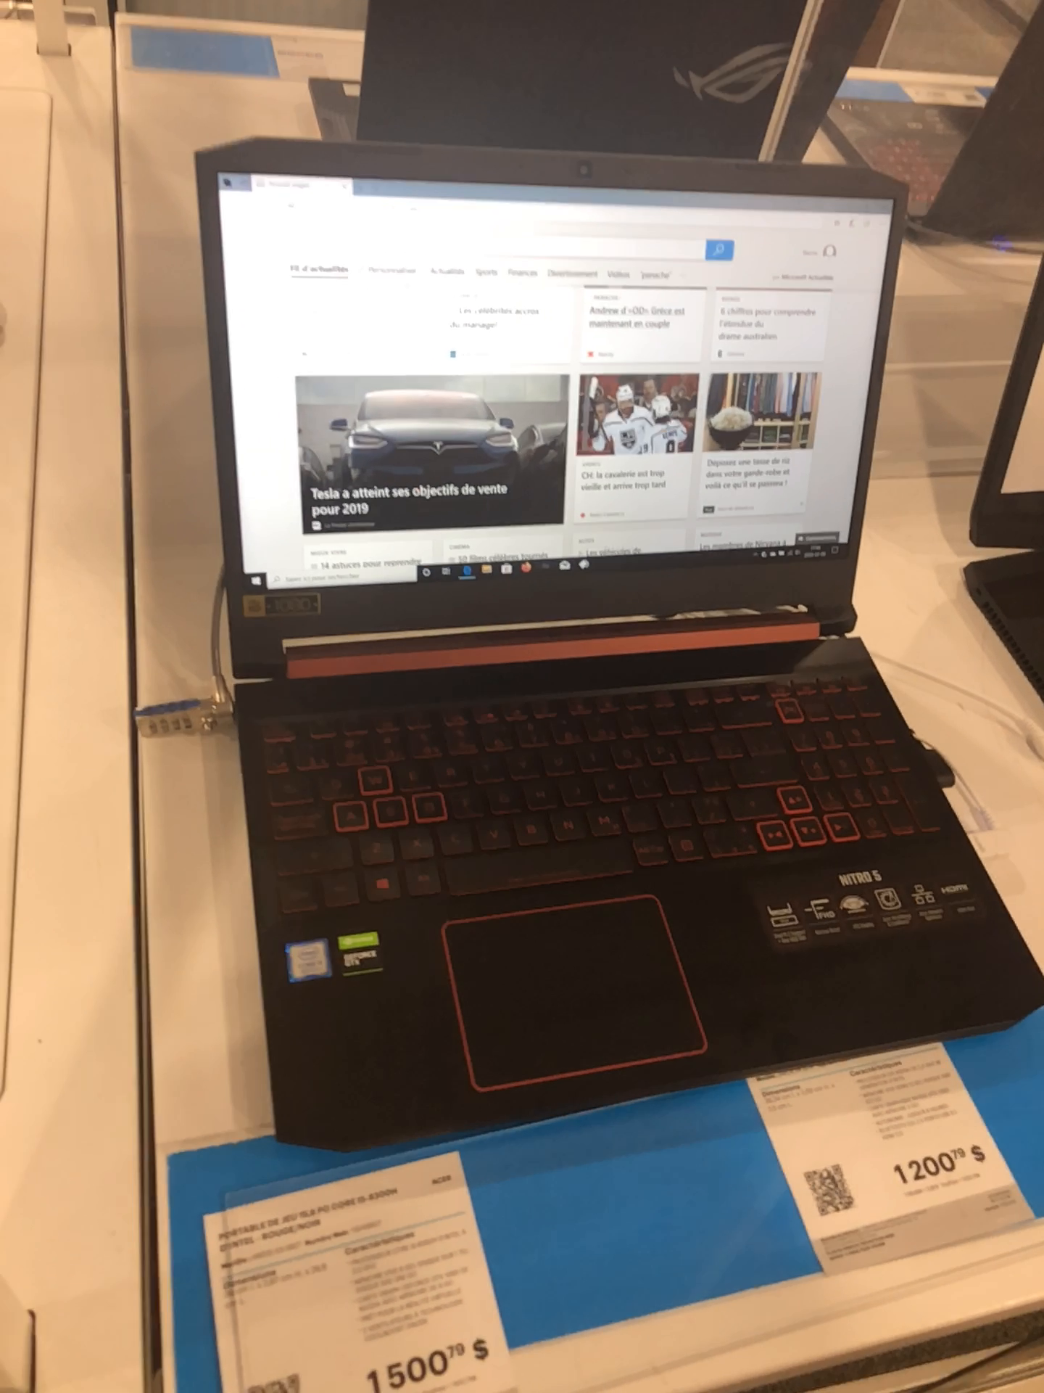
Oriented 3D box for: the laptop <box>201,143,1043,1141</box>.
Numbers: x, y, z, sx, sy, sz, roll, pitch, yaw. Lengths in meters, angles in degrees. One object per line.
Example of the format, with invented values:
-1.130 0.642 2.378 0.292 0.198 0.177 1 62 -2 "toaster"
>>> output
0.055 -0.050 0.519 0.357 0.211 0.359 -5 52 -16 "laptop"
